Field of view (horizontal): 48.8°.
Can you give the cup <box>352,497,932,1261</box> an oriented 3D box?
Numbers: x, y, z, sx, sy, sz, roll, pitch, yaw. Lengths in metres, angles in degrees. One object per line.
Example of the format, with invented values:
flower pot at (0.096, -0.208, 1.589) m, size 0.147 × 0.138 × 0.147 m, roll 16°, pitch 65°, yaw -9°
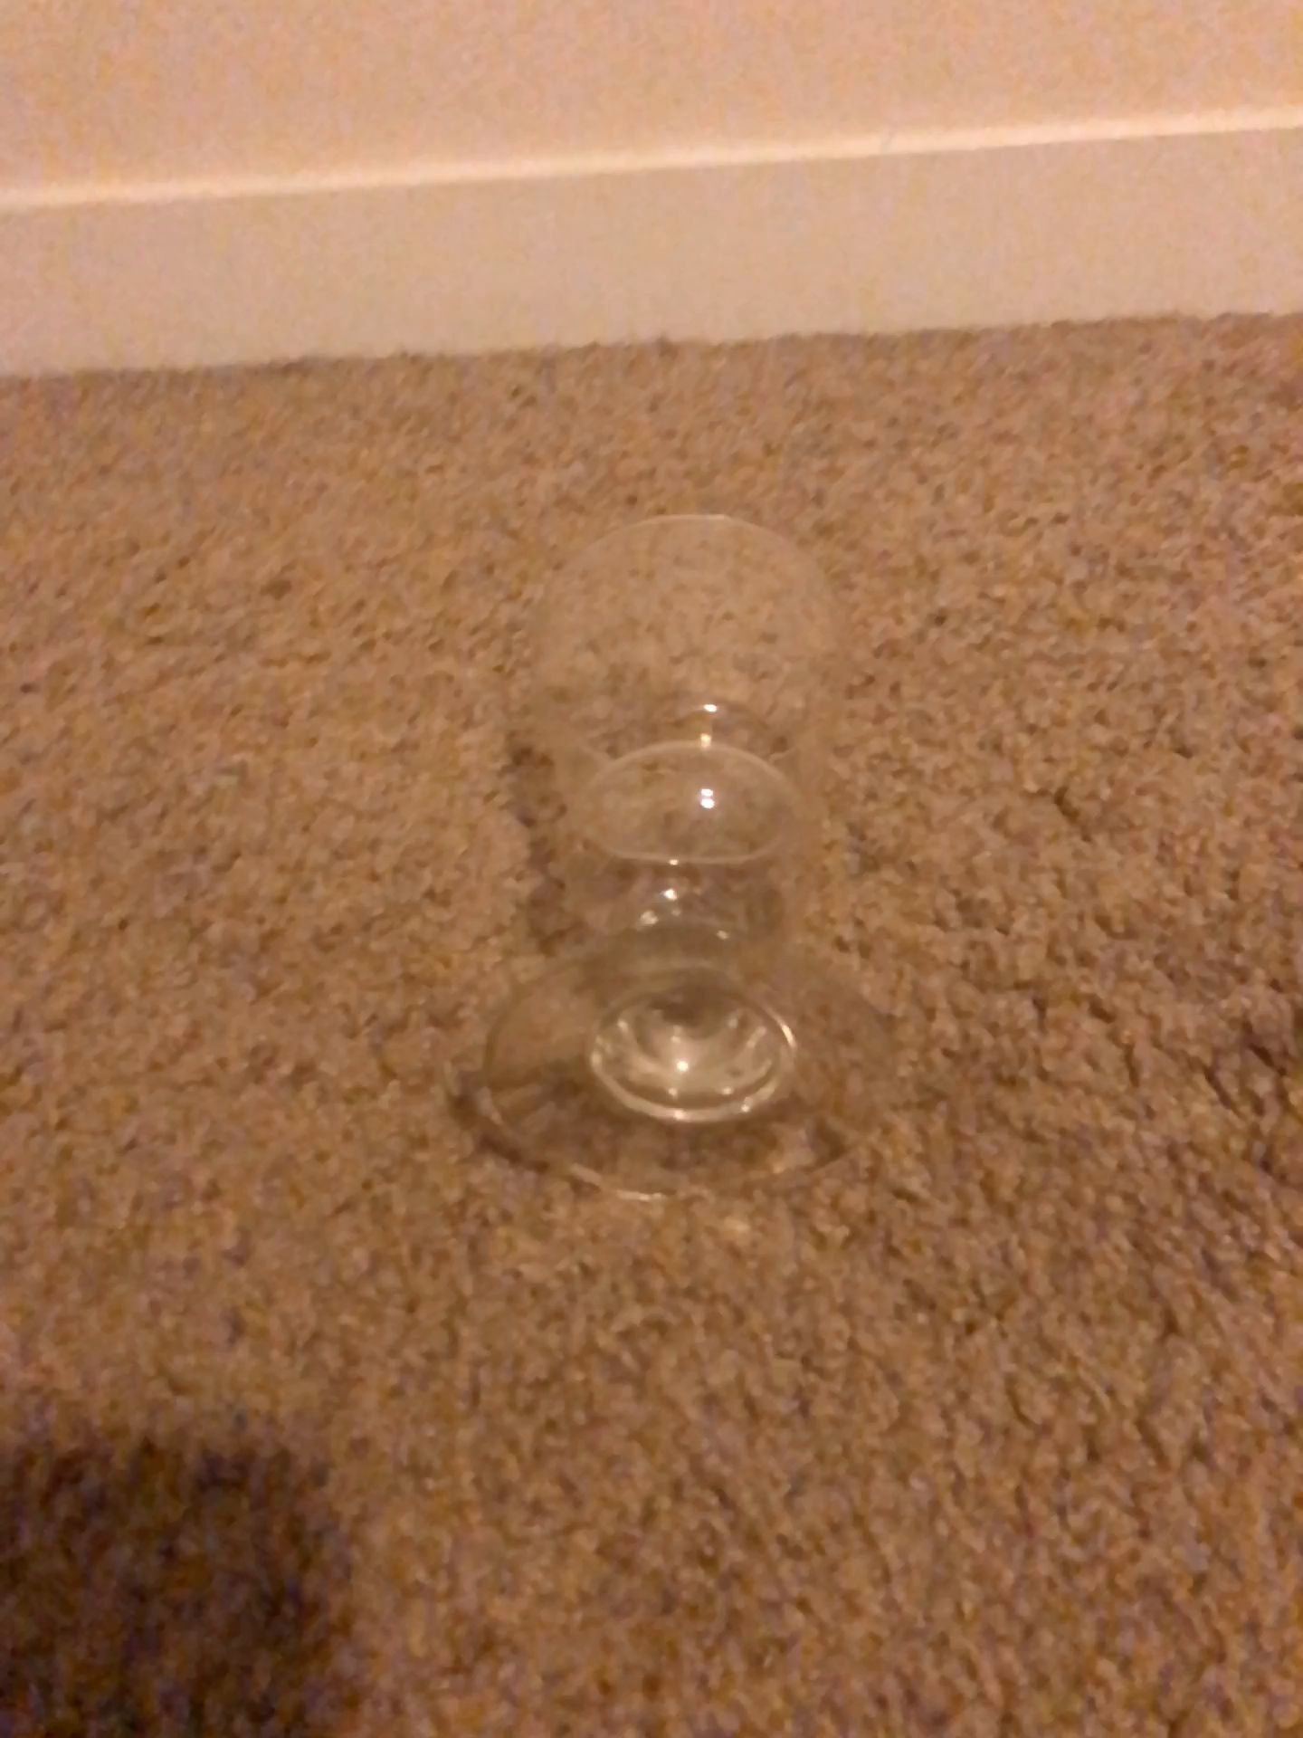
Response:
cup at (0.002, -0.007, 0.317) m, size 0.094 × 0.078 × 0.158 m, roll -5°, pitch 39°, yaw 4°
